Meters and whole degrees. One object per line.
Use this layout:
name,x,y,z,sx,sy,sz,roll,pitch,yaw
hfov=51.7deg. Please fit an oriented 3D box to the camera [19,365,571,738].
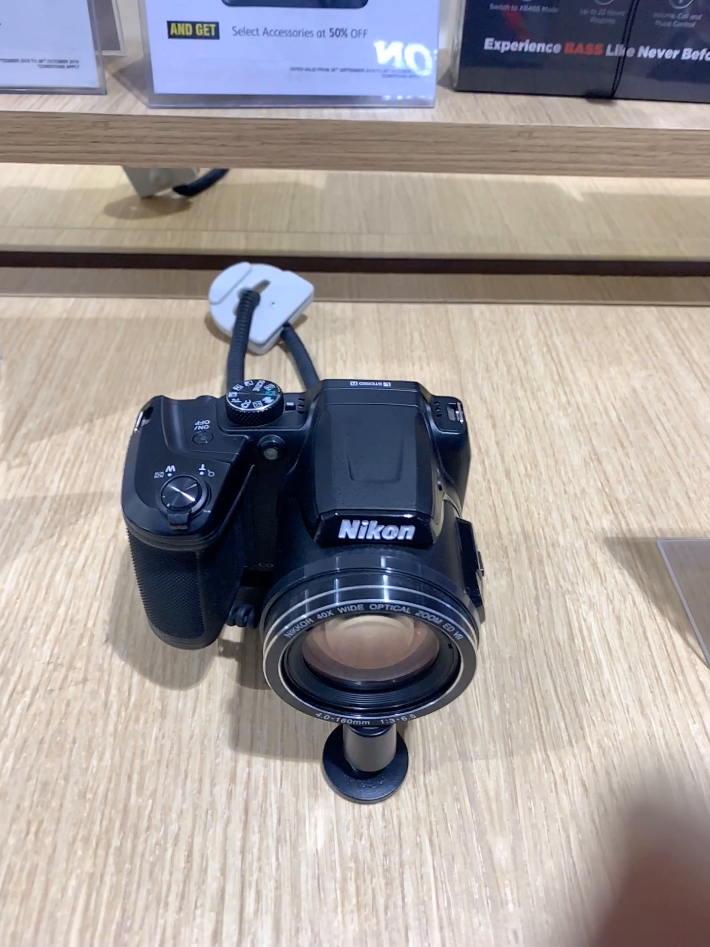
camera,-0.014,0.021,0.213,0.120,0.070,0.080,0,43,-2
